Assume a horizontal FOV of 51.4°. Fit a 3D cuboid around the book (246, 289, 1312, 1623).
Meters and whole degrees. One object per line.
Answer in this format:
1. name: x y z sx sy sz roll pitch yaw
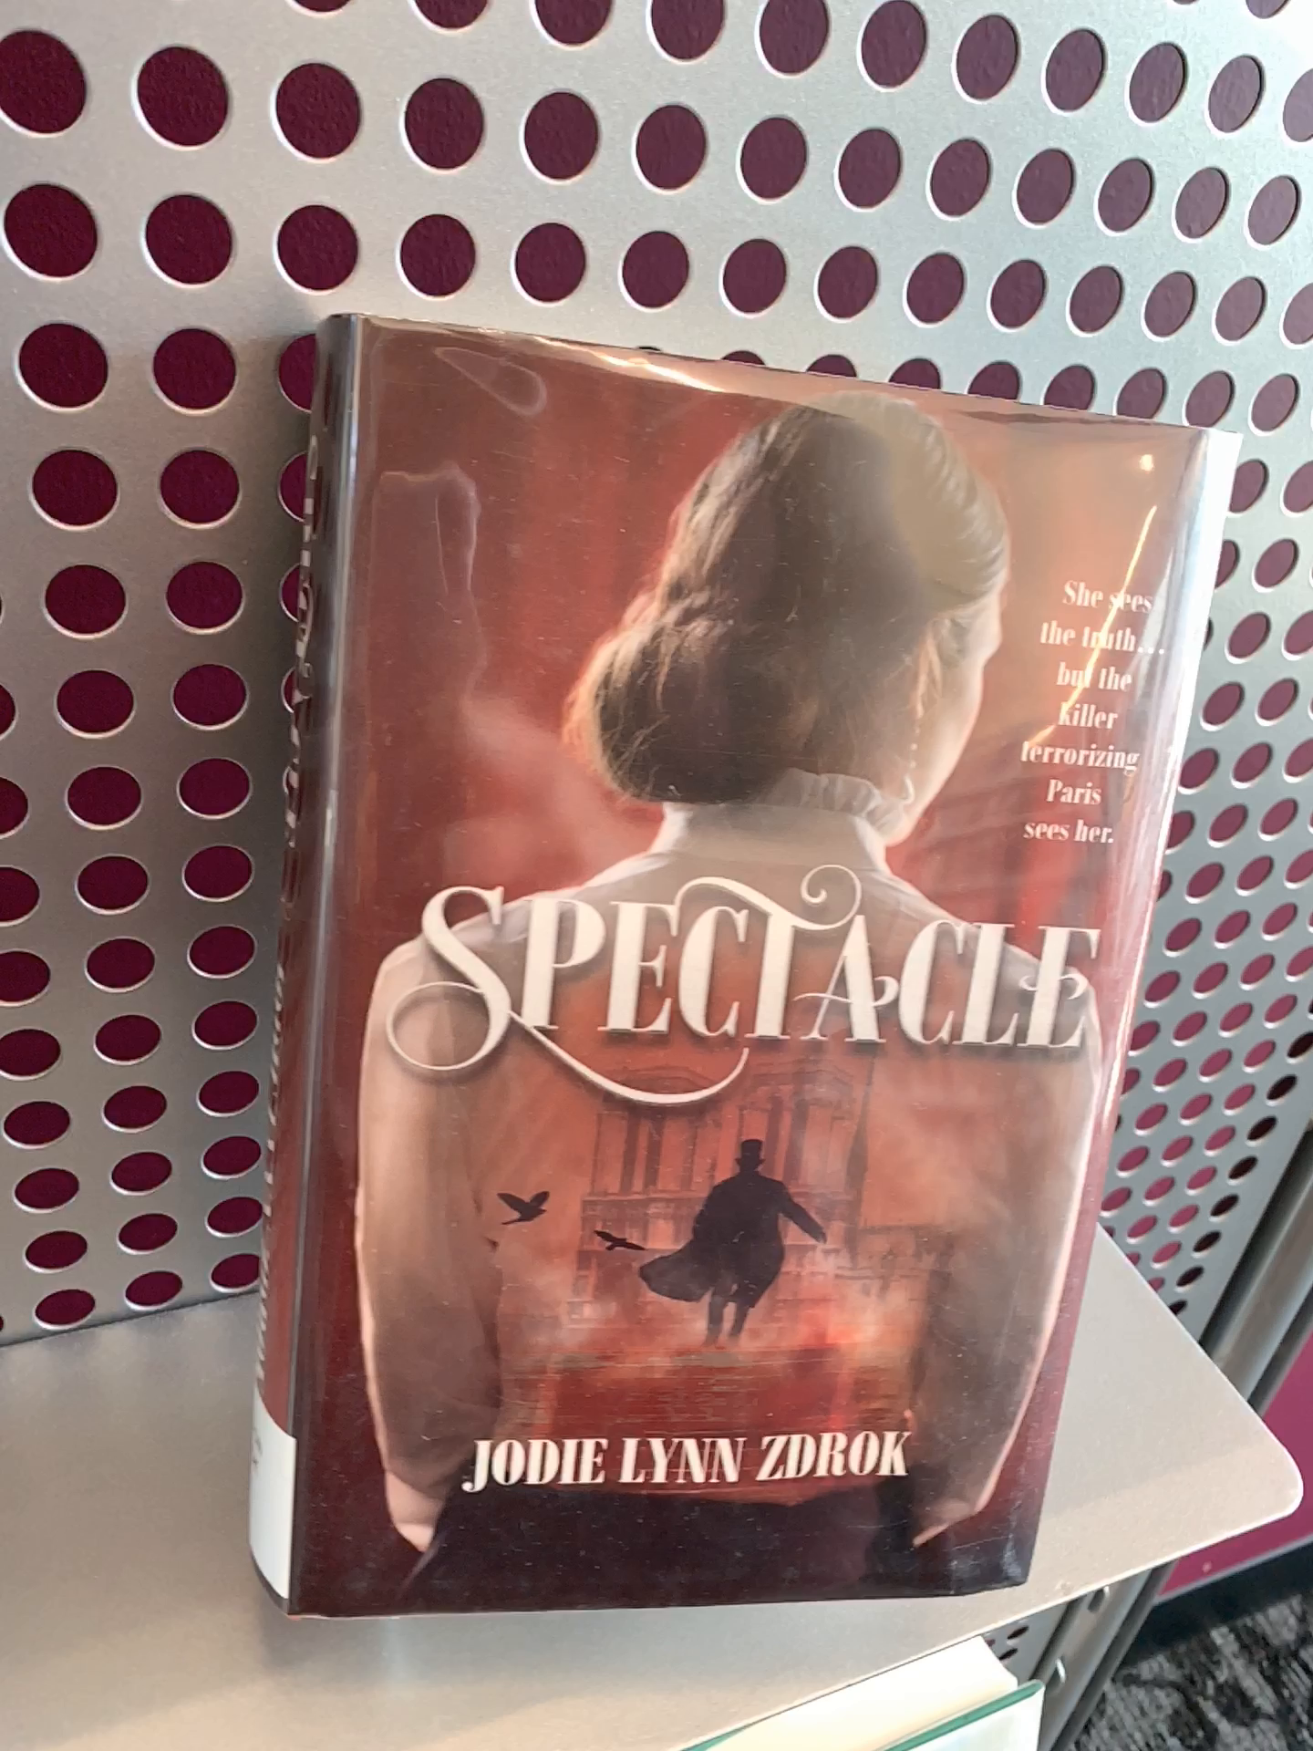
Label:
1. book: 0.011 0.020 0.246 0.153 0.212 0.059 3 14 -9
